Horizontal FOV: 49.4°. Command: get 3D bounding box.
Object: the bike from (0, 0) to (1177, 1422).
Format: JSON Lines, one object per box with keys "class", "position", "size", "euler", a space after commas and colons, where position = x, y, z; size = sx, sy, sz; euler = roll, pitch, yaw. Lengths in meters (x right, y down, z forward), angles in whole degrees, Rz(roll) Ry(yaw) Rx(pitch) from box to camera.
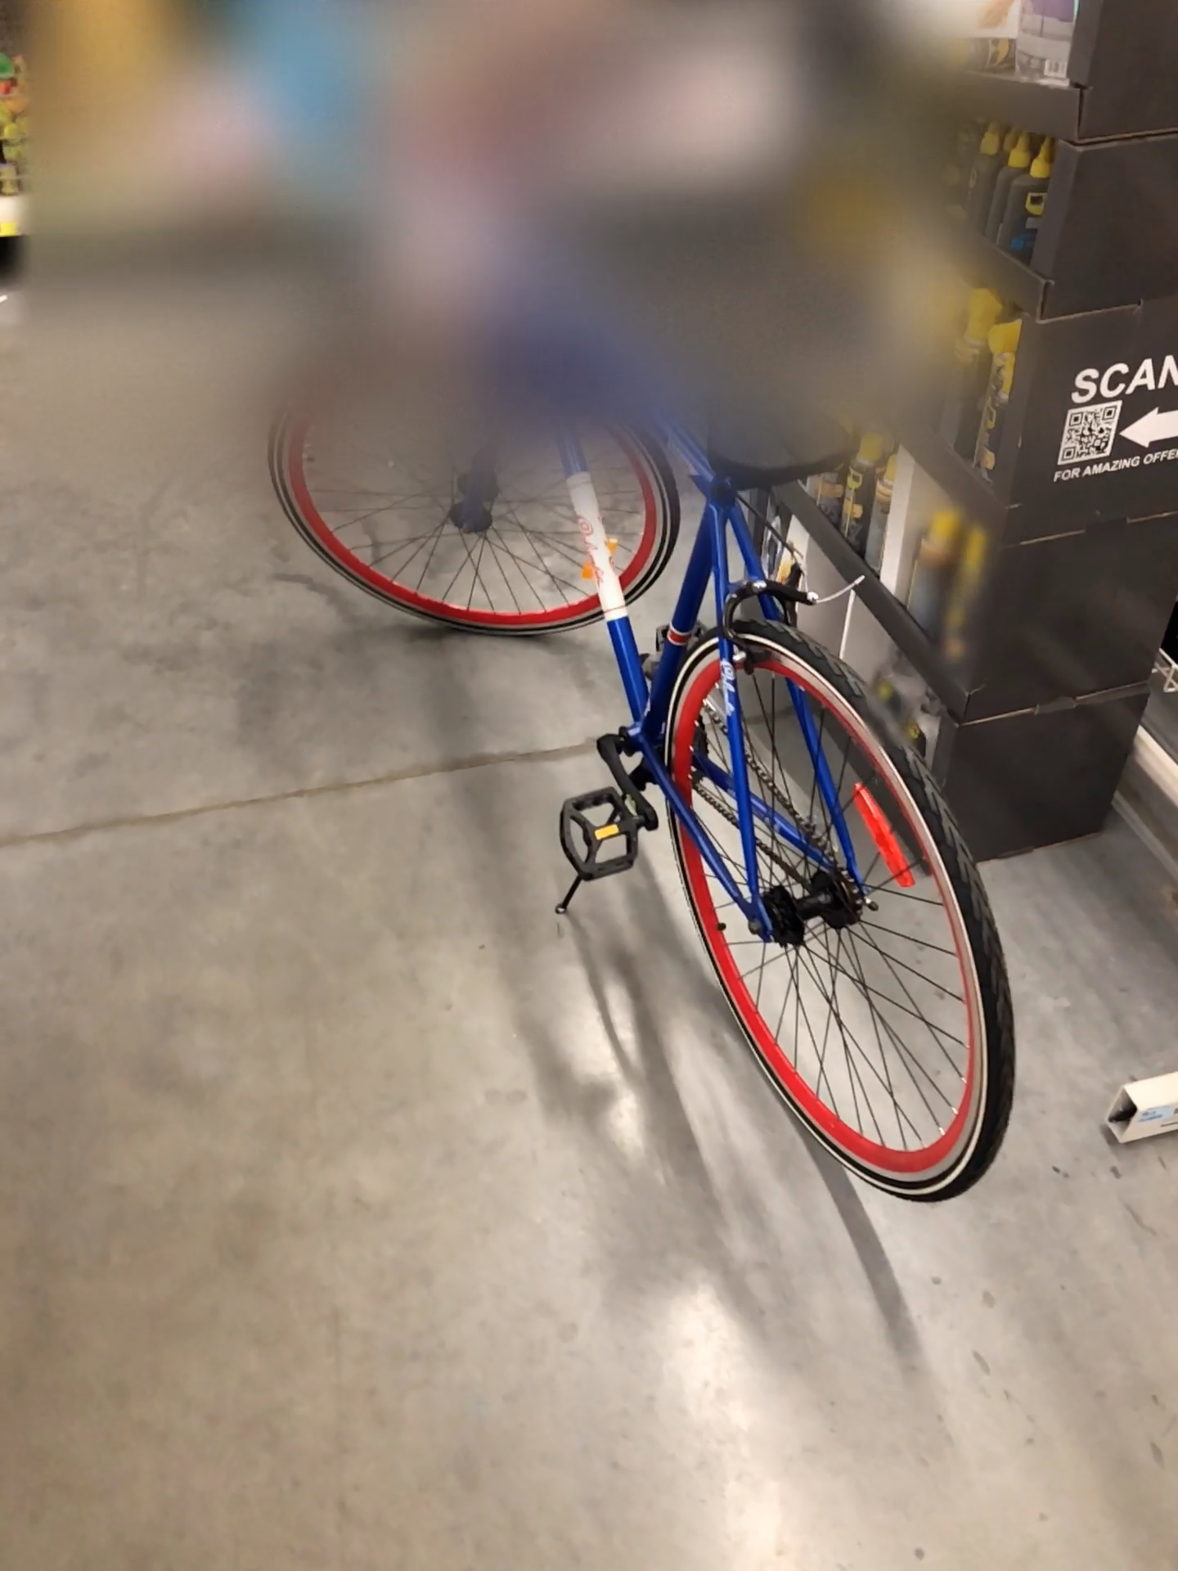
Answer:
{"class": "bike", "position": [-0.064, -0.232, 1.497], "size": [0.602, 0.937, 1.498], "euler": [-25, 53, -25]}
